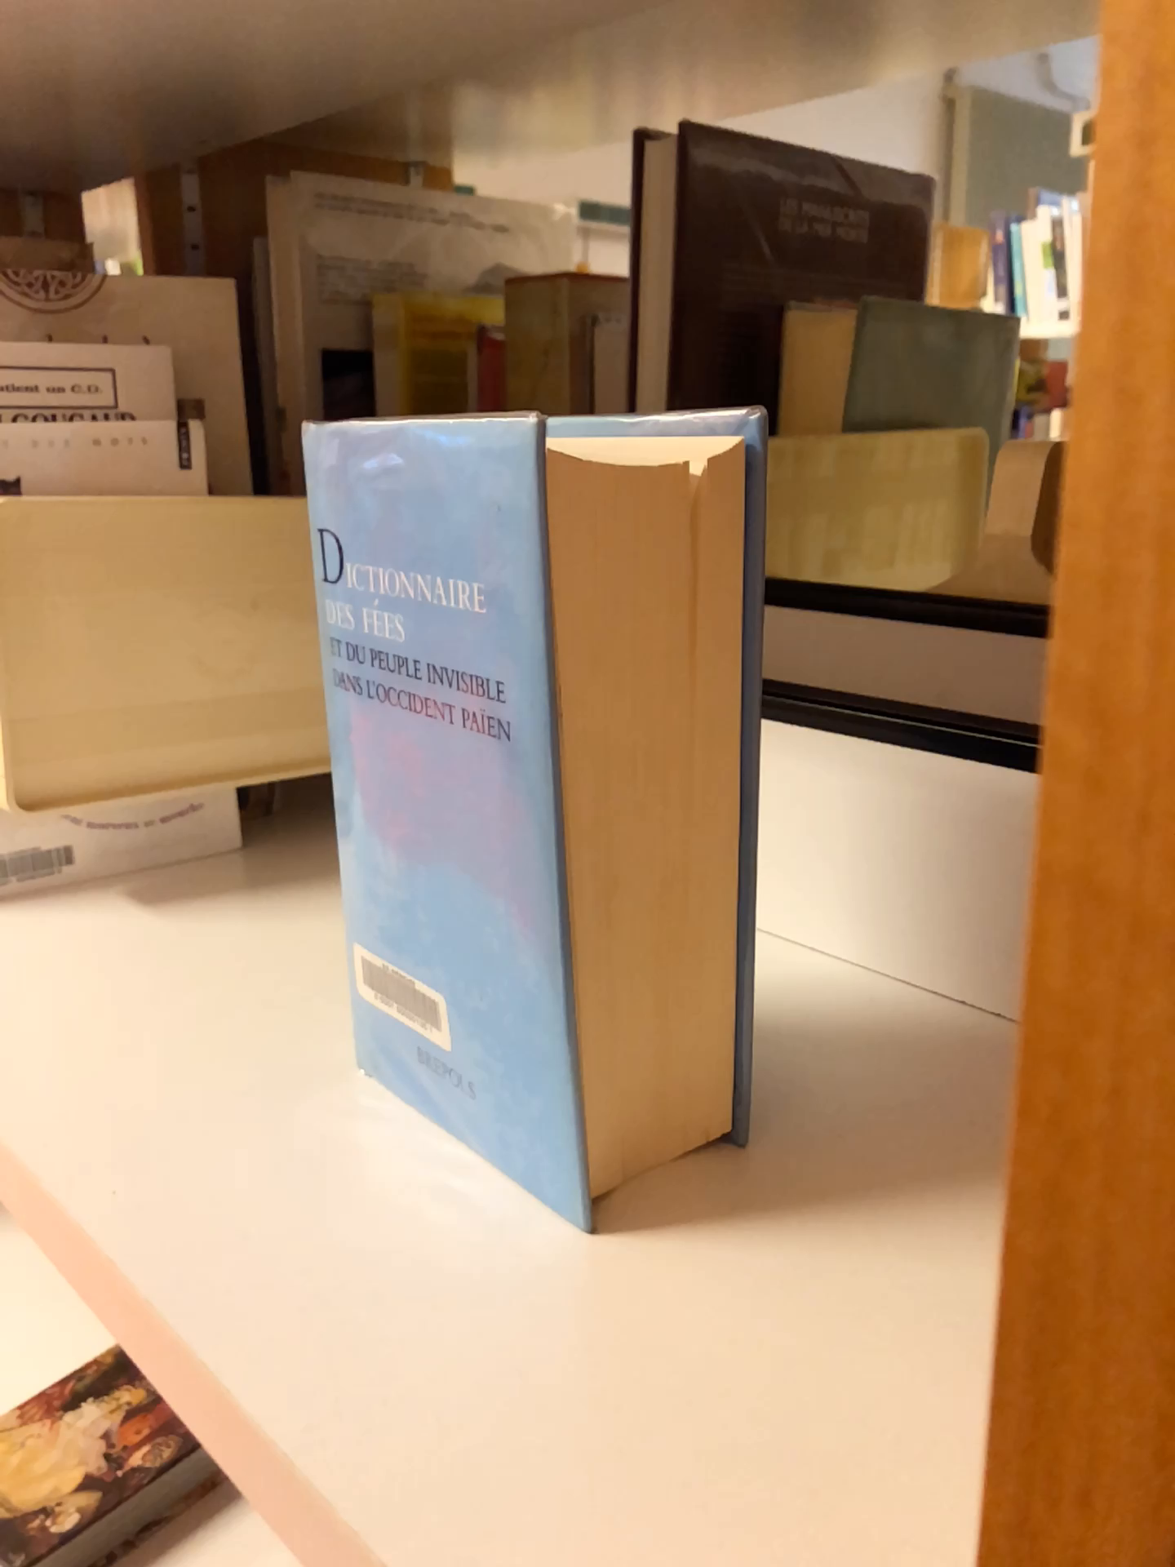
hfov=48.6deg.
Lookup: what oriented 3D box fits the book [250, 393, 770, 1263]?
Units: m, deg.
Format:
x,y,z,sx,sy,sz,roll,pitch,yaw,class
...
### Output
x,y,z,sx,sy,sz,roll,pitch,yaw,class
-0.020,0.000,0.333,0.060,0.186,0.125,-15,21,-36,book
